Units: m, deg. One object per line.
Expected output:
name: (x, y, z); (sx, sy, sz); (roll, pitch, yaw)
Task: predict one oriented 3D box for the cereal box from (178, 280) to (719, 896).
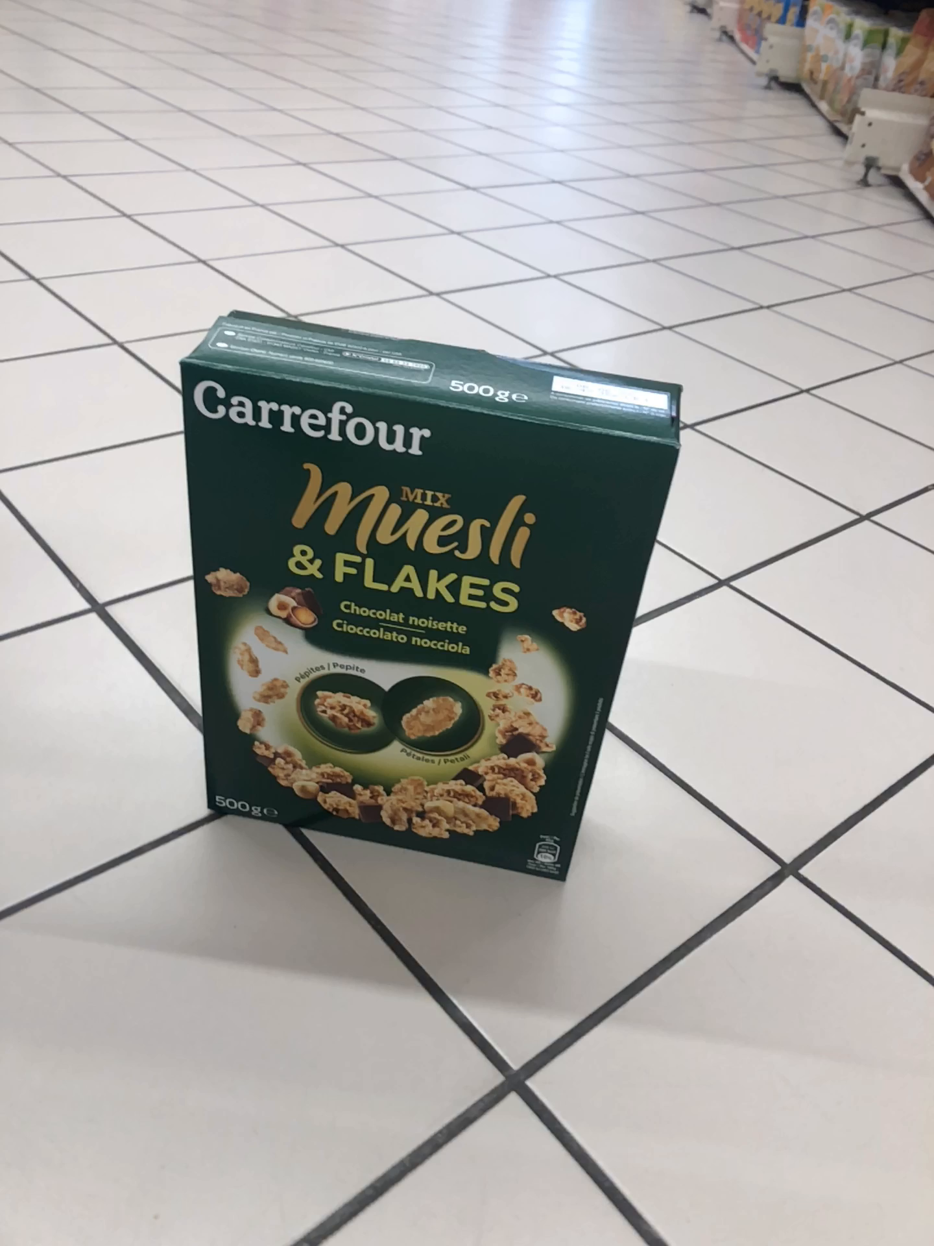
cereal box: (-0.015, -0.006, 0.476); (0.200, 0.248, 0.081); (11, 37, 4)
